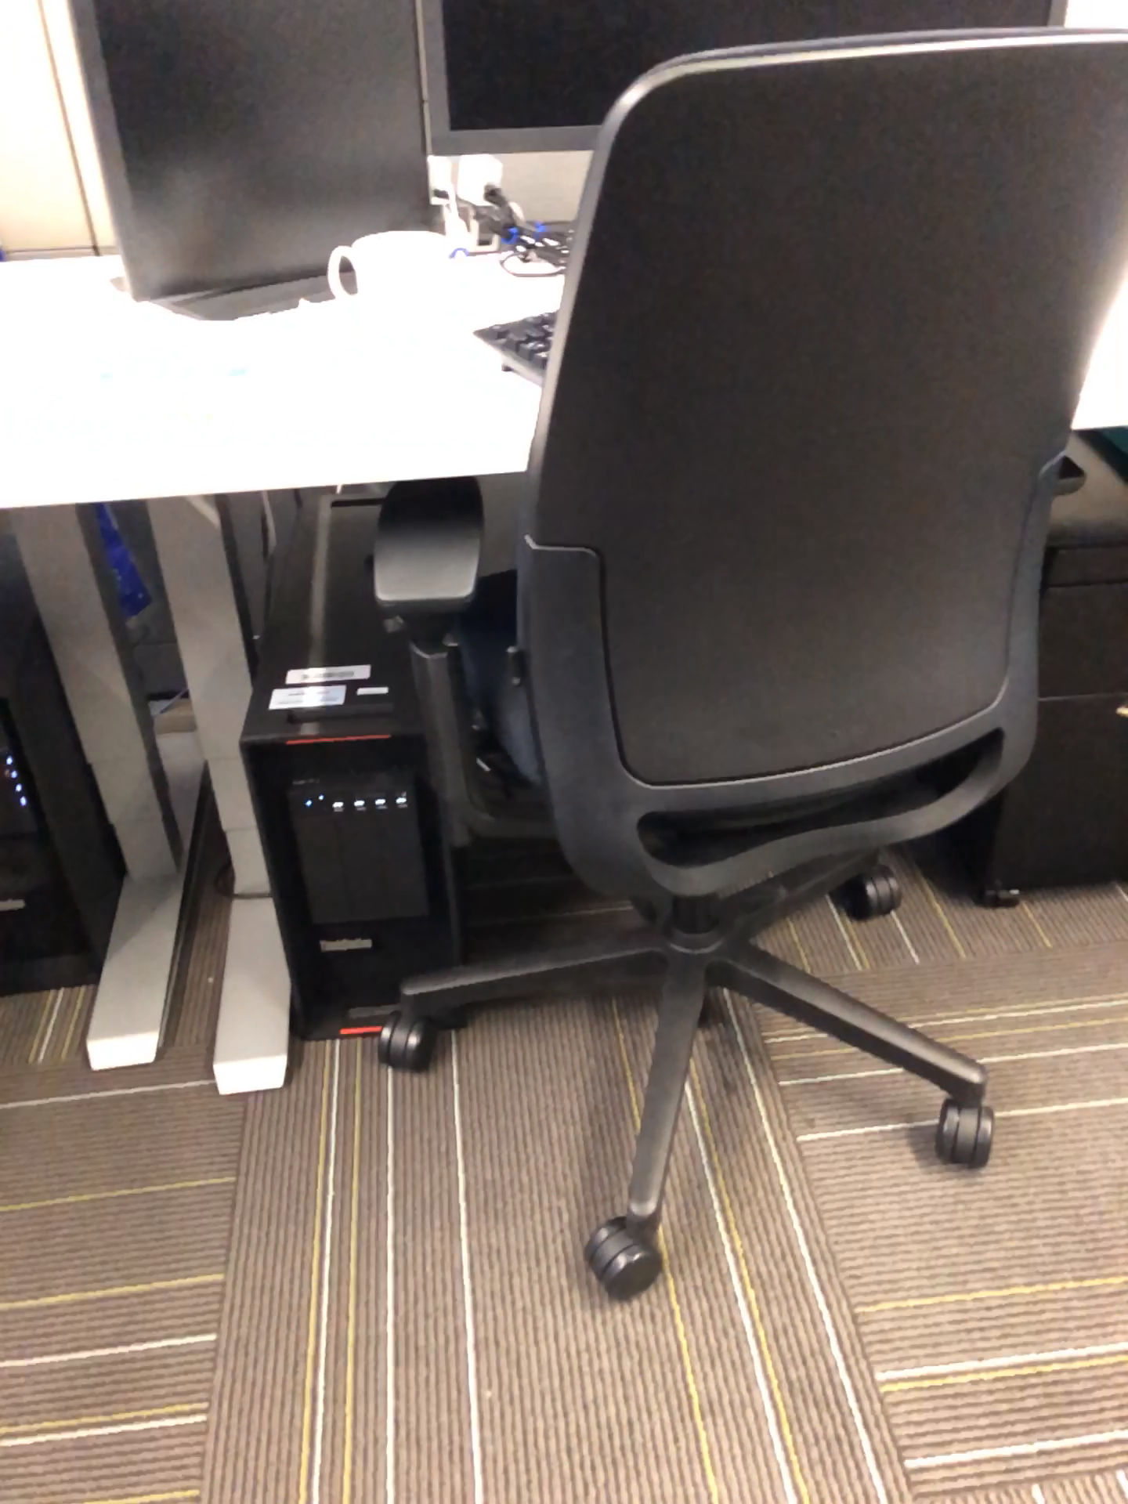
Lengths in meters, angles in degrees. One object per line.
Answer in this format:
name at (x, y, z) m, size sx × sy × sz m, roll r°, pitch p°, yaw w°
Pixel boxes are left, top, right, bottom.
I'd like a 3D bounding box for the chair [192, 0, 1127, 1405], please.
chair at (0.128, -0.105, 1.174) m, size 0.710 × 1.044 × 0.724 m, roll -11°, pitch 35°, yaw -13°
